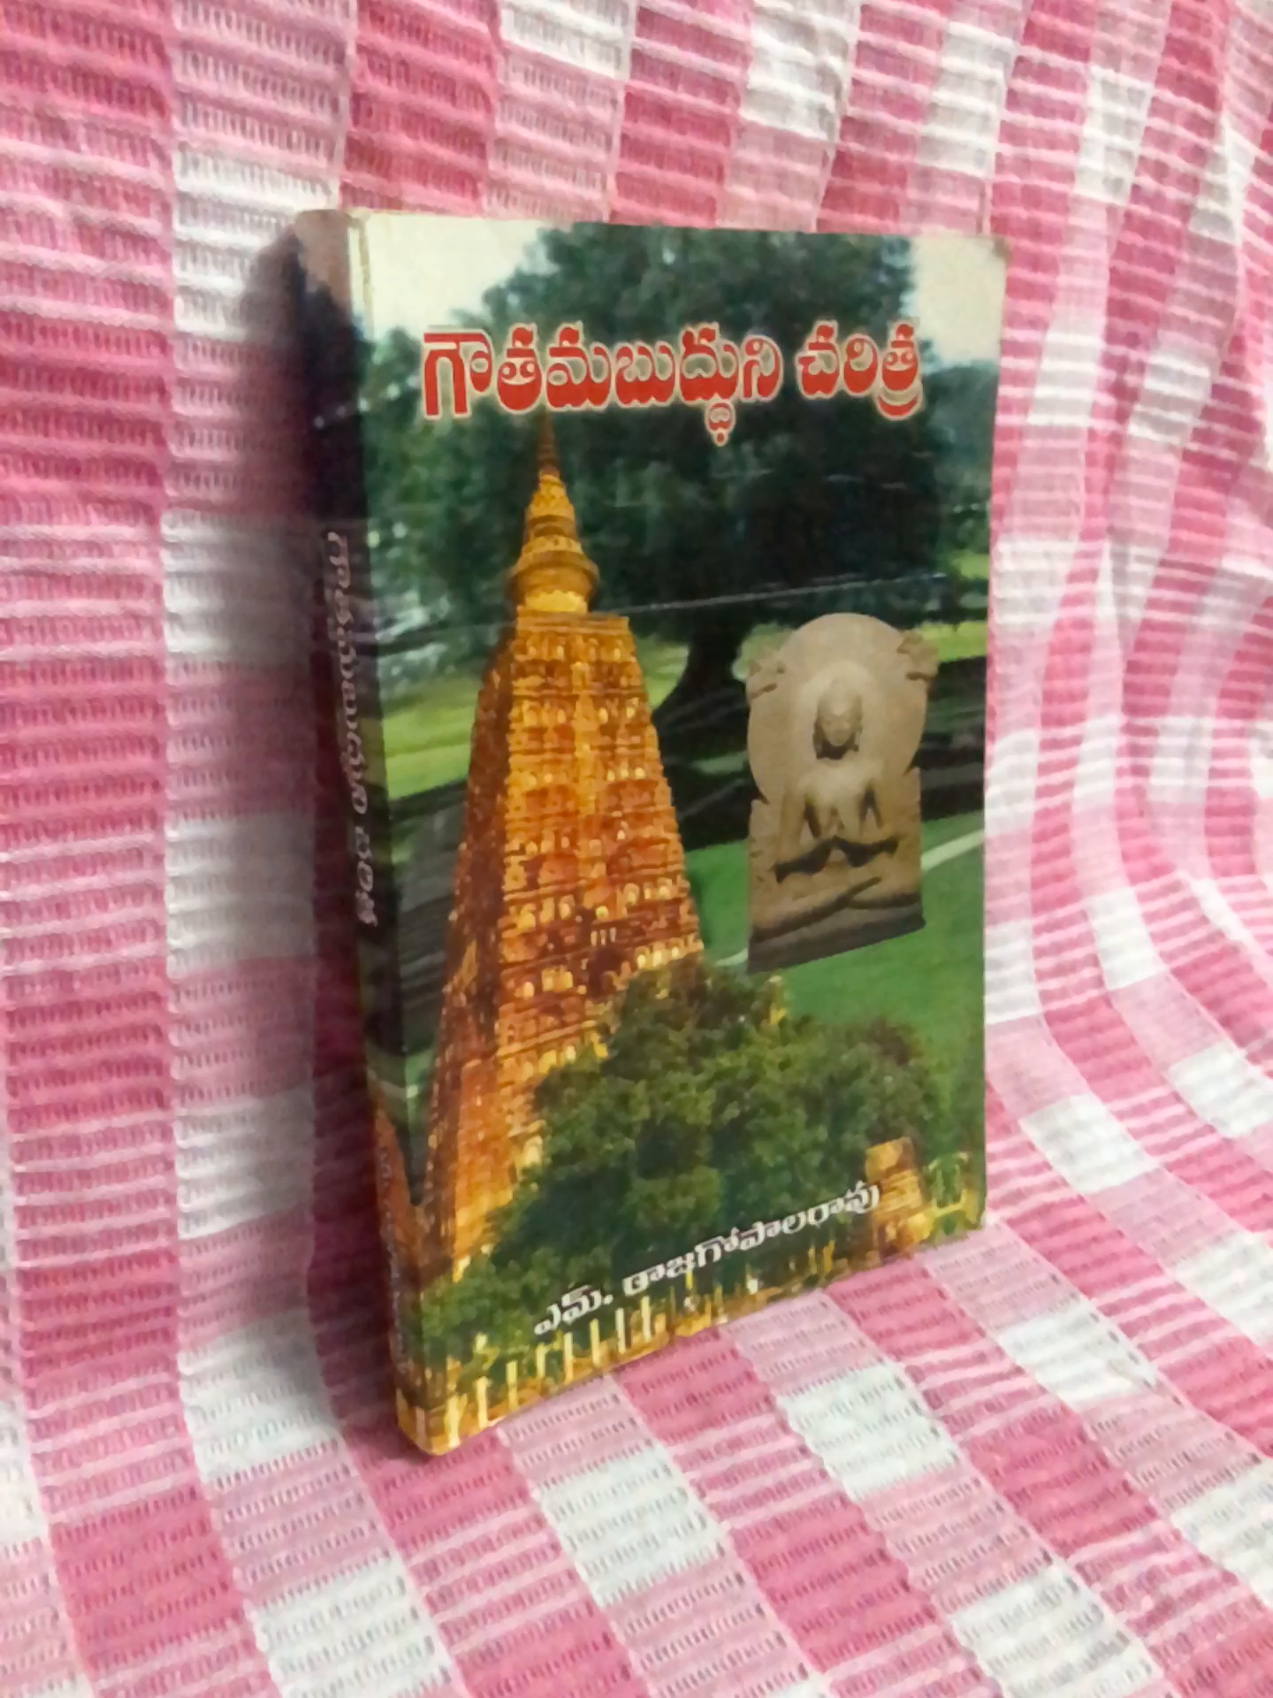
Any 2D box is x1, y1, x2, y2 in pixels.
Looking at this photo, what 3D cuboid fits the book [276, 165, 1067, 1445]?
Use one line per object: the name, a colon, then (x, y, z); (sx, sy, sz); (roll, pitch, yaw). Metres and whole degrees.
book: (0.014, -0.009, 0.271); (0.140, 0.209, 0.030); (-11, 19, -29)
